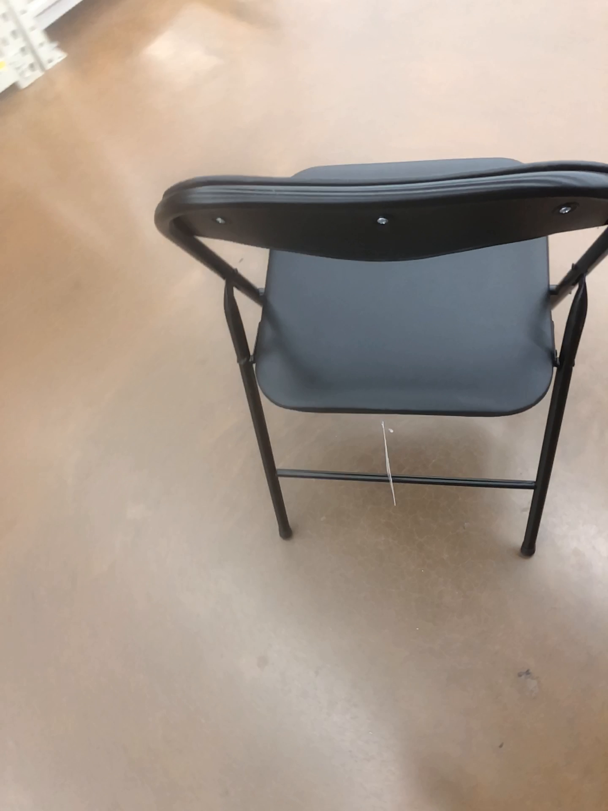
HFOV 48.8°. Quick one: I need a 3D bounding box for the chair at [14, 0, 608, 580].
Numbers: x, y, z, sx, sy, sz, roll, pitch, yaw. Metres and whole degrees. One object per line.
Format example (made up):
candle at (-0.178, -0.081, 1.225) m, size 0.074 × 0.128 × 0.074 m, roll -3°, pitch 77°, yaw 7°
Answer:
chair at (0.135, -0.126, 0.868) m, size 0.520 × 0.759 × 0.491 m, roll 0°, pitch 62°, yaw 11°
